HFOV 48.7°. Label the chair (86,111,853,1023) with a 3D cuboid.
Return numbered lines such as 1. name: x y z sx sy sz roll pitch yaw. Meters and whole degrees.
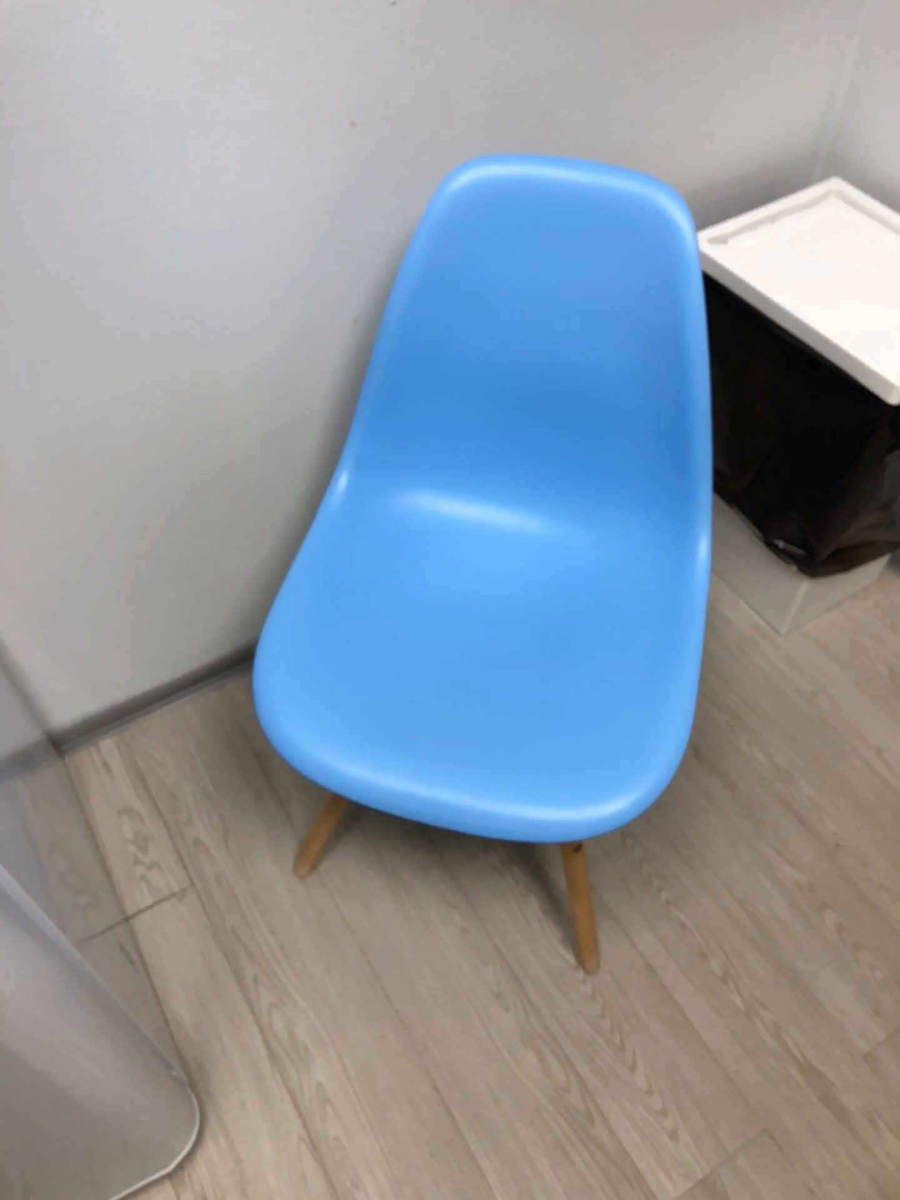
1. chair: 0.060 0.007 1.094 0.460 0.775 0.533 16 53 13
